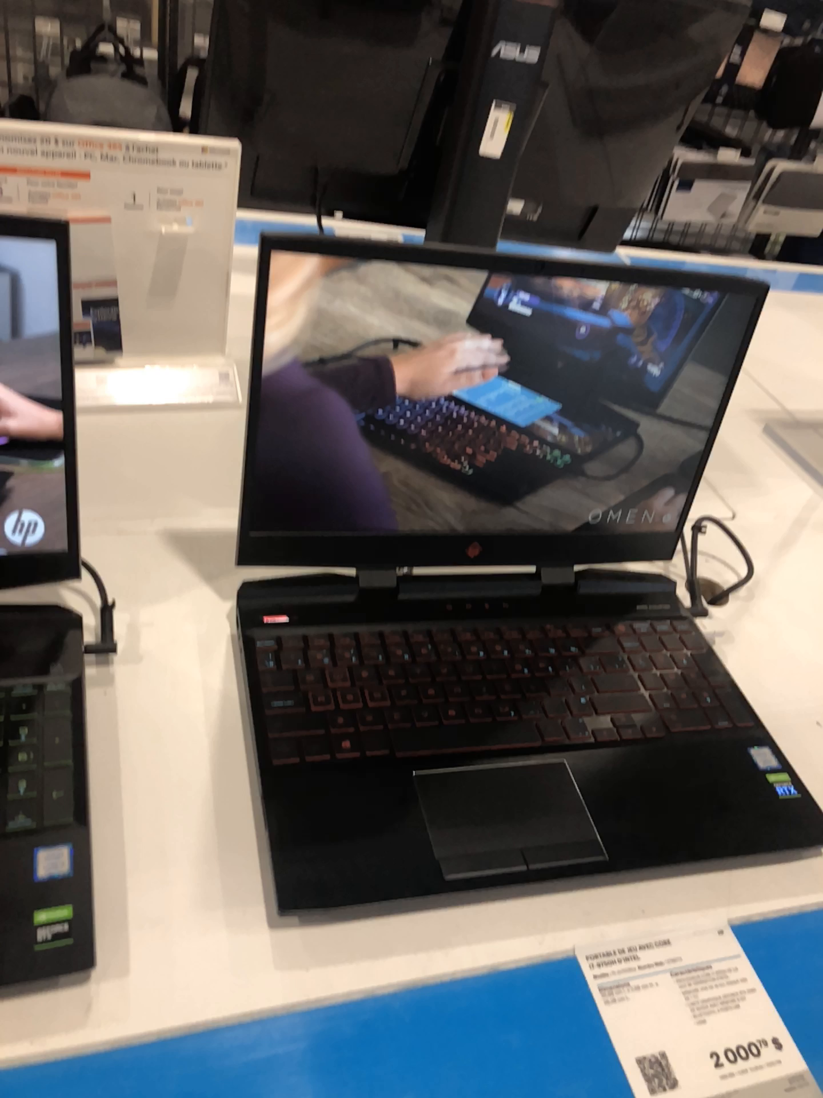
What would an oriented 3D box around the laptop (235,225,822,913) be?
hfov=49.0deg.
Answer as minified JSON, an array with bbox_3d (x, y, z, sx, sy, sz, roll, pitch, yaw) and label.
[{"bbox_3d":[0.091,-0.004,0.560,0.355,0.239,0.294,-1,41,-18],"label":"laptop"}]
